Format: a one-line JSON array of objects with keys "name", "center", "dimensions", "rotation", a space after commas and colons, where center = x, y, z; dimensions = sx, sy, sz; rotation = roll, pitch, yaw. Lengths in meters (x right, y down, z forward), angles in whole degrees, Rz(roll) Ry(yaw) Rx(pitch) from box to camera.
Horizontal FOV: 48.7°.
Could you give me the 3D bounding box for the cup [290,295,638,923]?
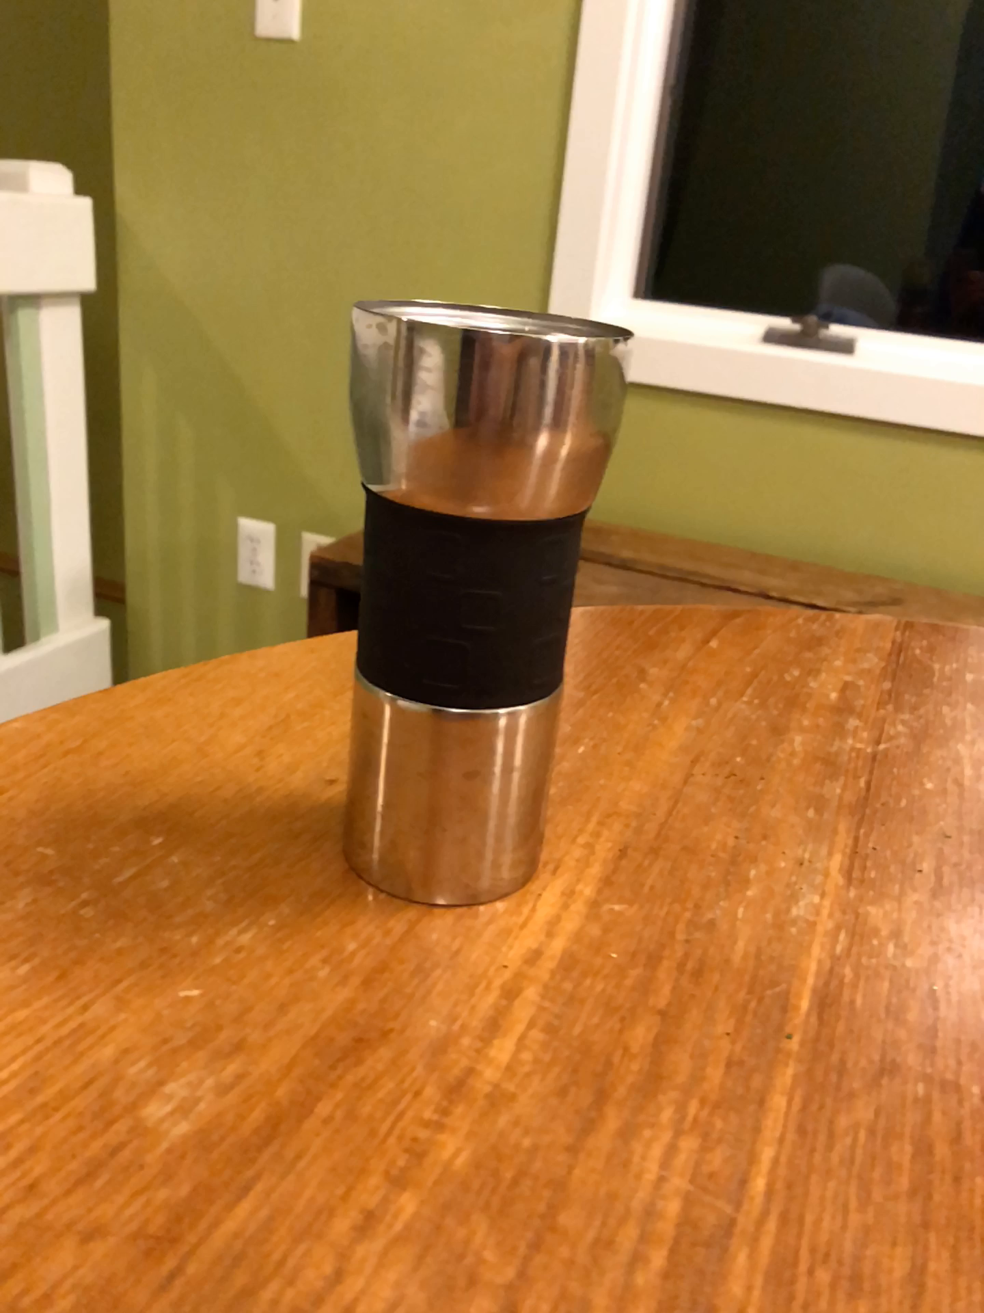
[{"name": "cup", "center": [-0.008, -0.019, 0.352], "dimensions": [0.083, 0.173, 0.088], "rotation": [5, 21, -2]}]
